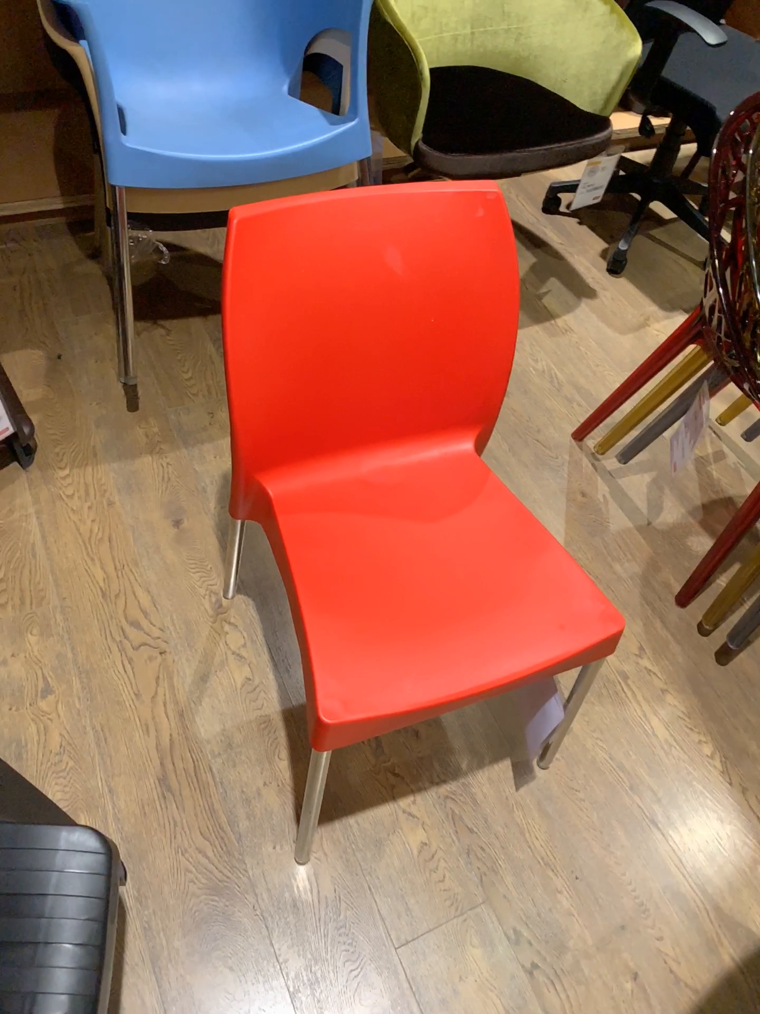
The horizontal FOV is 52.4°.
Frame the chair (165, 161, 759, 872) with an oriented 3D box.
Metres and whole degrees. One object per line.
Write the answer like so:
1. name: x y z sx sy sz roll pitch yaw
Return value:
1. chair: 0.048 0.037 1.153 0.531 0.778 0.621 -13 55 -18
